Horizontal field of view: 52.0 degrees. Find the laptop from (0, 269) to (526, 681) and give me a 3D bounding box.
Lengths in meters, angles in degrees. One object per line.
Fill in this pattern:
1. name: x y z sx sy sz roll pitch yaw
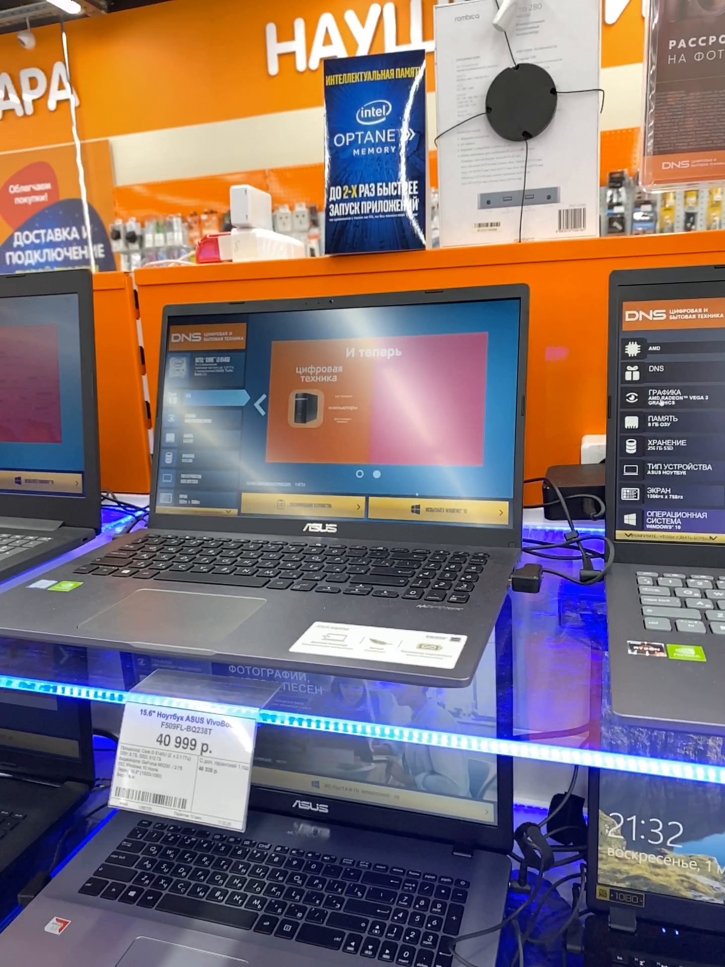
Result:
1. laptop: -0.074 -0.038 0.571 0.357 0.211 0.307 2 13 18
